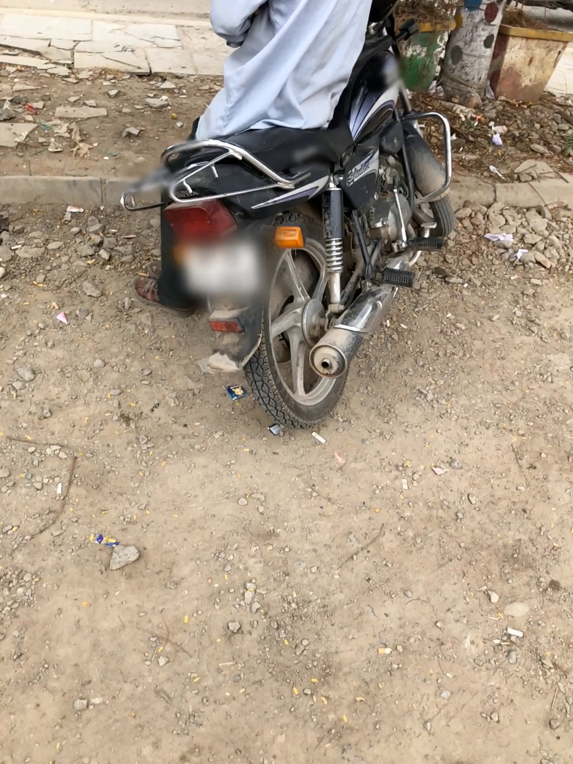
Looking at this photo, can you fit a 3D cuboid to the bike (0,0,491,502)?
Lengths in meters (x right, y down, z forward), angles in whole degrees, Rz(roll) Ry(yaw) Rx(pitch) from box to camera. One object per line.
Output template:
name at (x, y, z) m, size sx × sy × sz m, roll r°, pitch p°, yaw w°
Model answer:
bike at (0.016, -0.727, 1.934) m, size 0.738 × 1.170 × 1.605 m, roll 16°, pitch 43°, yaw 10°
